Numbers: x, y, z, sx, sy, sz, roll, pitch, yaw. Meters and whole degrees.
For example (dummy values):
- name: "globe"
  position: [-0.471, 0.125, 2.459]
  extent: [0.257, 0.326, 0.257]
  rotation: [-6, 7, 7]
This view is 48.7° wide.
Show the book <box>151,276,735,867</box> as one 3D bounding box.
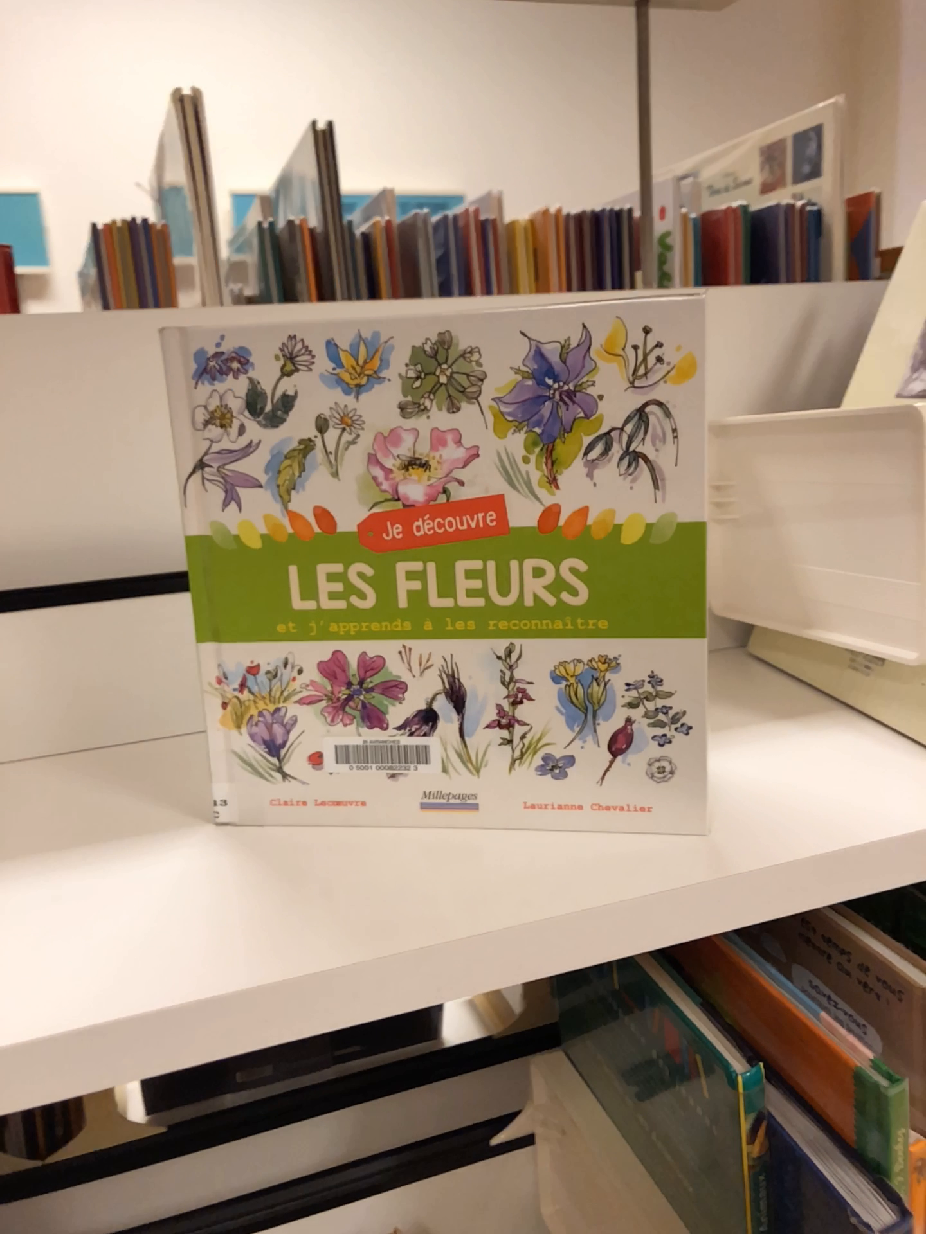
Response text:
- name: "book"
  position: [-0.001, -0.021, 0.437]
  extent: [0.208, 0.215, 0.104]
  rotation: [-3, 11, 2]
